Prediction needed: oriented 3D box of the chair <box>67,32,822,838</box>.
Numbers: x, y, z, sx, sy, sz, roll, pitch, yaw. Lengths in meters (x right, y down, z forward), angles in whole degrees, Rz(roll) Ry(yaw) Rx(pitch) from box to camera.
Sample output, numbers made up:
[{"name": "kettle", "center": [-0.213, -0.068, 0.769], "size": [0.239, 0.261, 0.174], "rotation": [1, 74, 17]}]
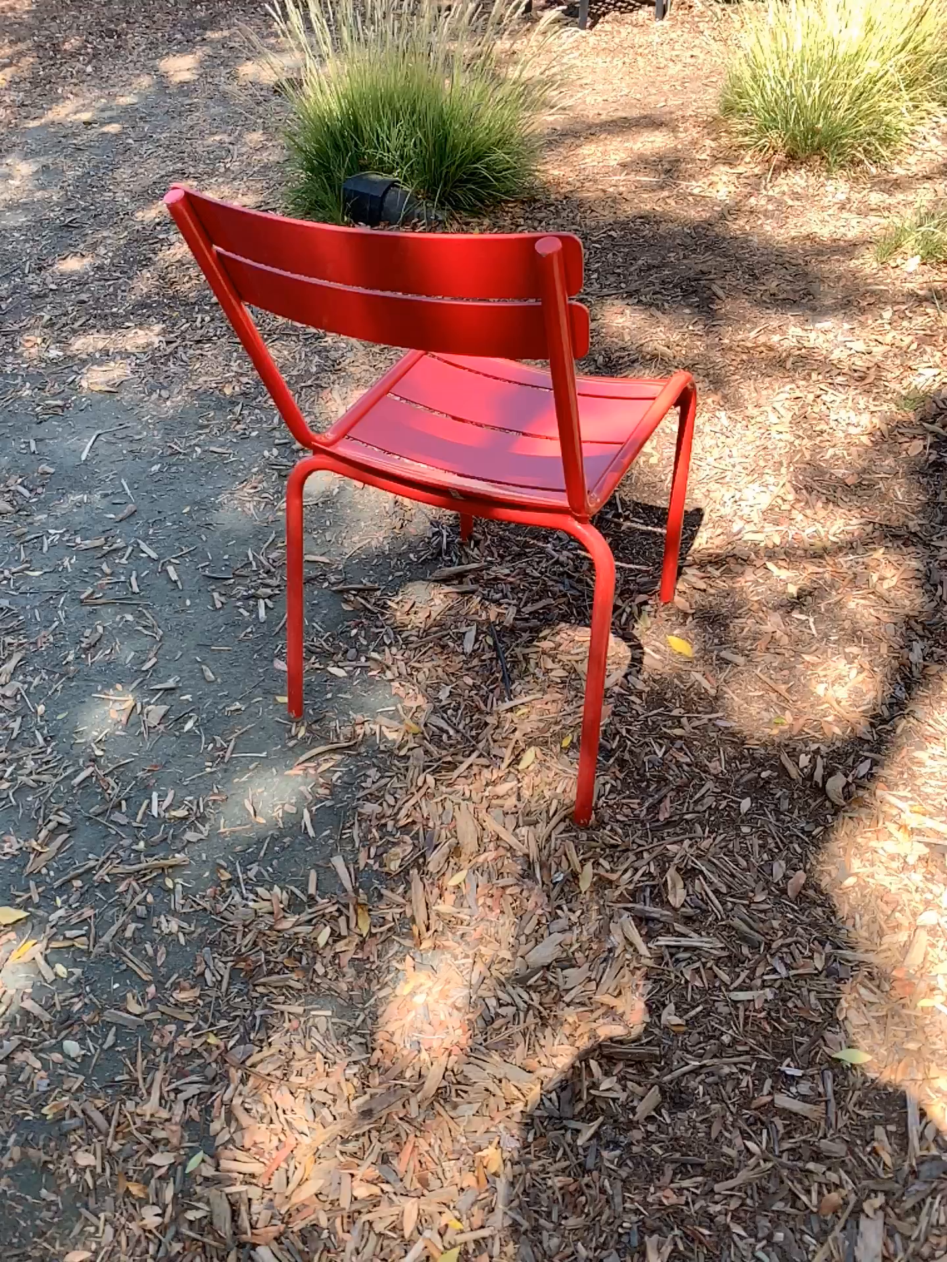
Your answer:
[{"name": "chair", "center": [0.023, -0.260, 1.316], "size": [0.612, 0.786, 0.572], "rotation": [18, 53, 21]}]
